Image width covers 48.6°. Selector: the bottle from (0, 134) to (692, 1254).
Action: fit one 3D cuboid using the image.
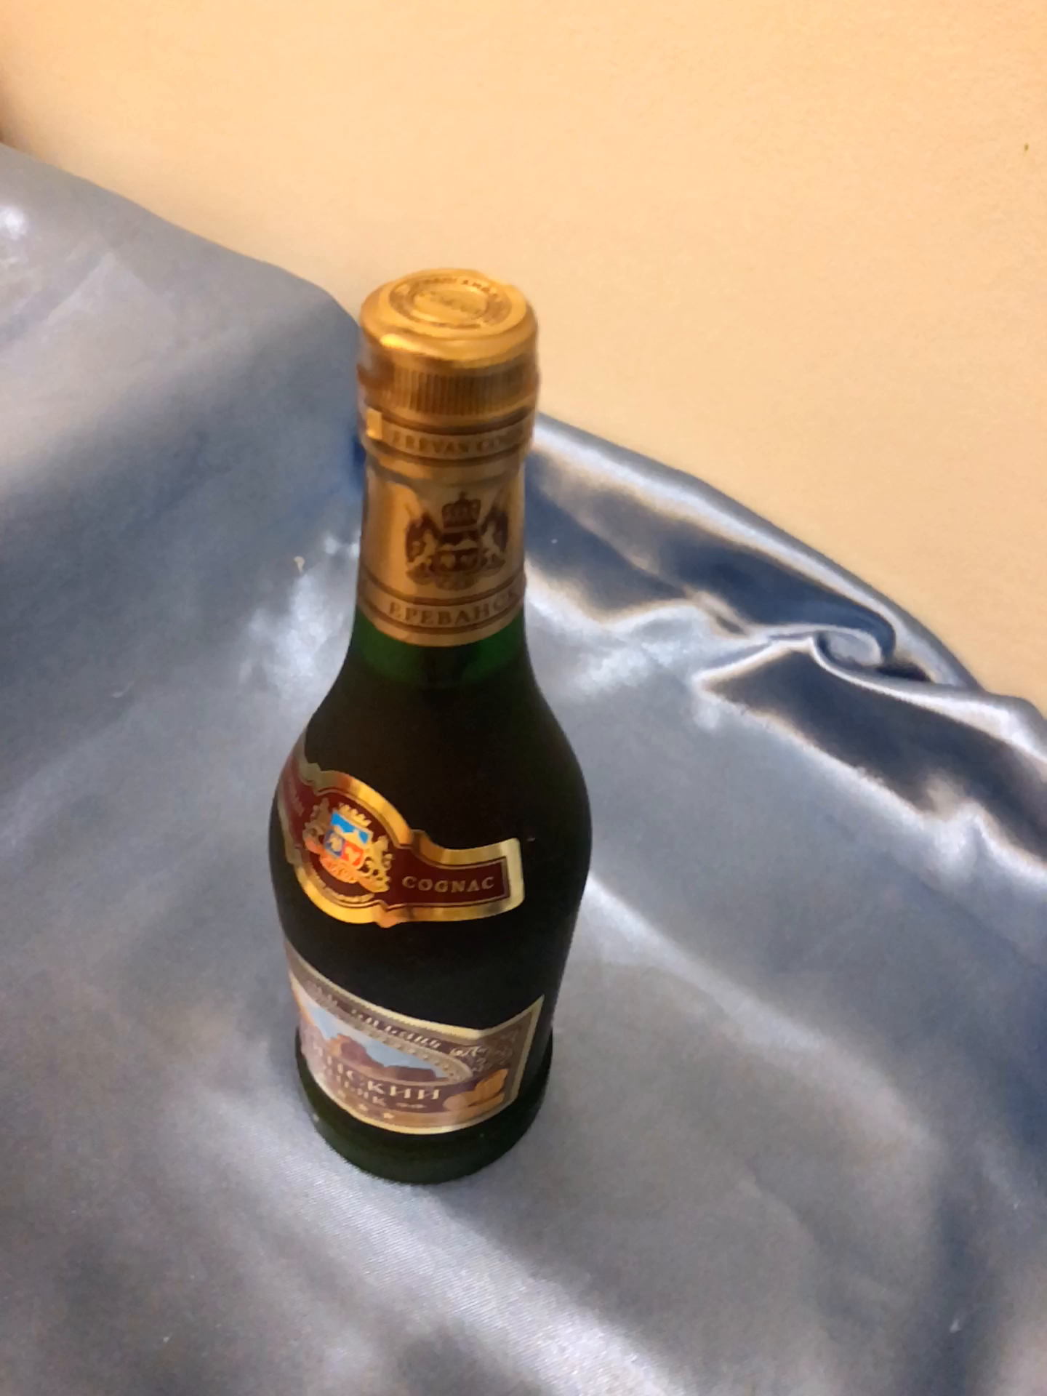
[{"bbox_3d":[-0.029,0.026,0.254,0.080,0.247,0.074,0,47,0],"label":"bottle"}]
